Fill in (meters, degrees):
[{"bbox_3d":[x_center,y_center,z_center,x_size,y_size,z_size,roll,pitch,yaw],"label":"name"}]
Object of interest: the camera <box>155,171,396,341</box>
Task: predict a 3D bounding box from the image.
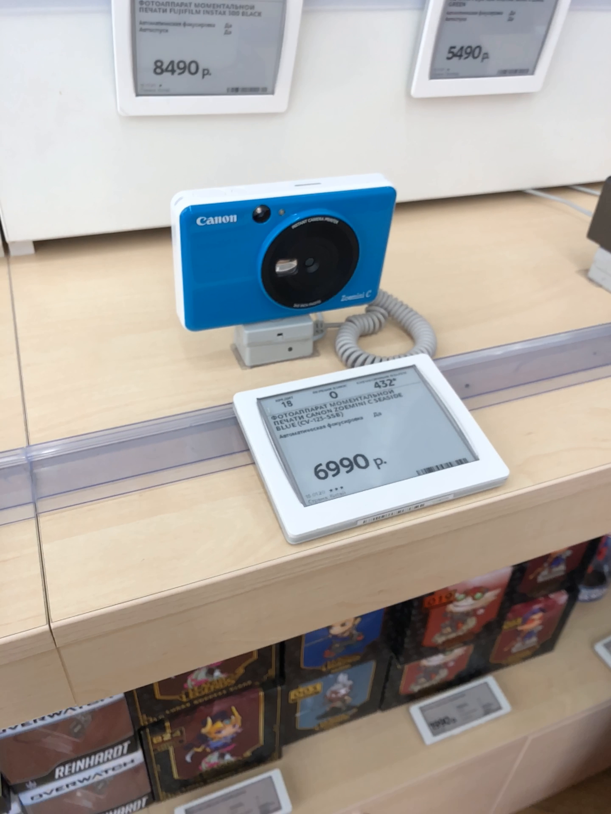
[{"bbox_3d":[-0.016,-0.081,0.364,0.119,0.072,0.025,-12,47,-18],"label":"camera"}]
